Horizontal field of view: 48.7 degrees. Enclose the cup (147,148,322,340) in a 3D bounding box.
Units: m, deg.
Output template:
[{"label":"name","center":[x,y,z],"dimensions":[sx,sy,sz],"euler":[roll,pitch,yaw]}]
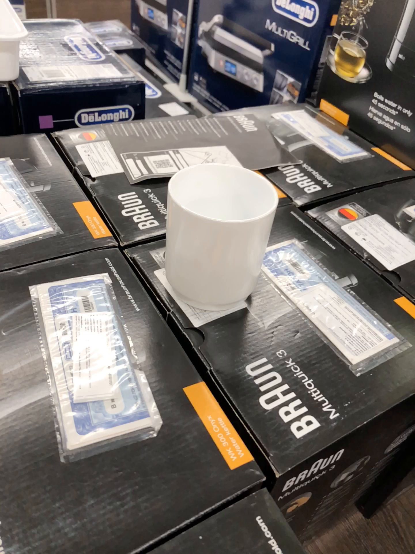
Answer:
[{"label":"cup","center":[0.012,-0.031,0.358],"dimensions":[0.082,0.091,0.111],"euler":[-12,42,-24]}]
